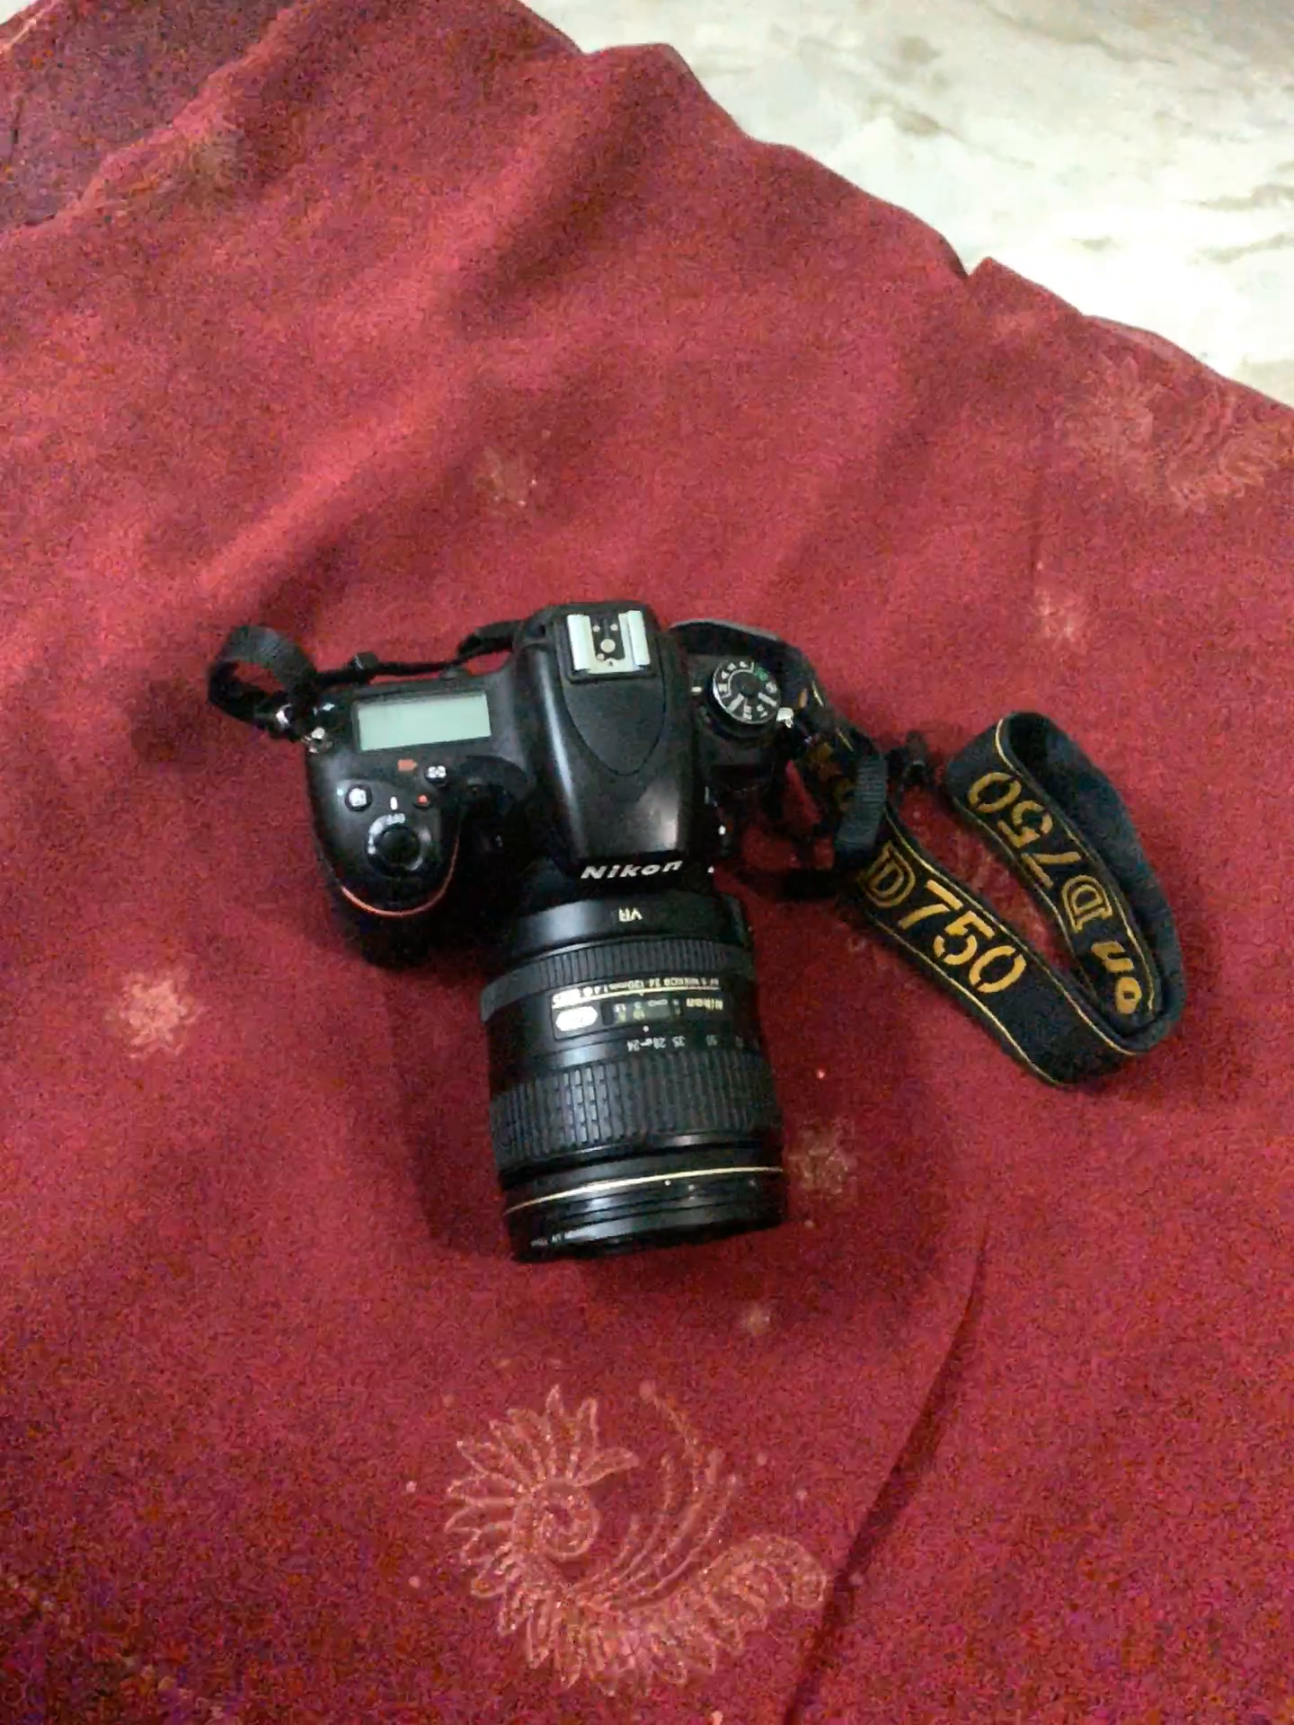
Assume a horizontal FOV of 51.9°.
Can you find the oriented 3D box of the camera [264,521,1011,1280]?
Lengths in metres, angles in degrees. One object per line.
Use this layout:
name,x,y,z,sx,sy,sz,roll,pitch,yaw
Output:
camera,-0.013,0.013,0.351,0.150,0.110,0.160,-5,69,-8
